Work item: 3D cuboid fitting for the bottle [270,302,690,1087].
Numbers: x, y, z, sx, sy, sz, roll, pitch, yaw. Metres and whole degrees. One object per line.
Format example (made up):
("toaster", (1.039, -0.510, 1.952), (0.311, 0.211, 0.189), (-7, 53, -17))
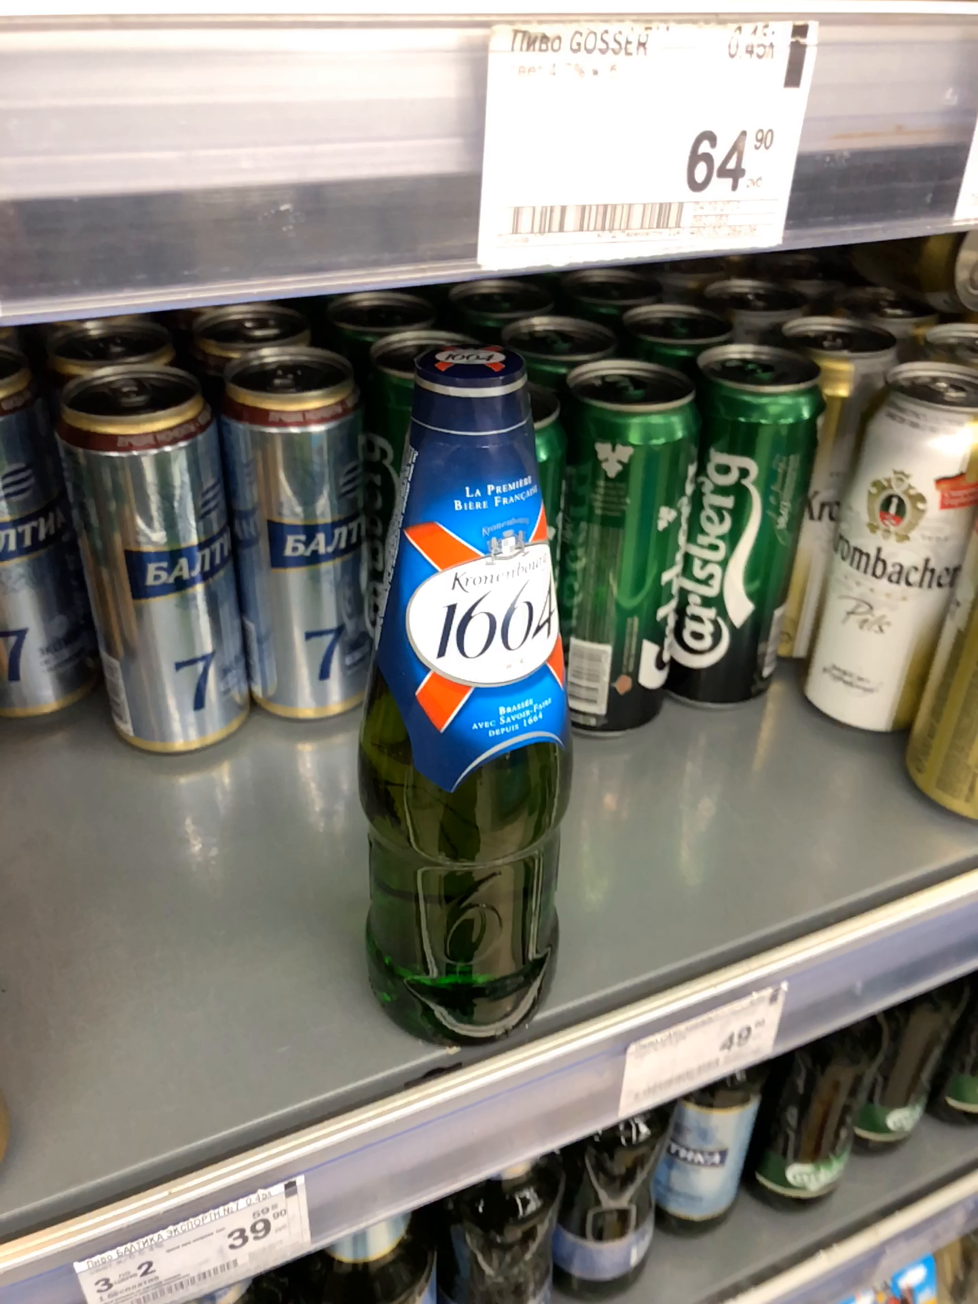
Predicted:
("bottle", (-0.009, 0.020, 0.343), (0.080, 0.229, 0.080), (2, 34, -1))
